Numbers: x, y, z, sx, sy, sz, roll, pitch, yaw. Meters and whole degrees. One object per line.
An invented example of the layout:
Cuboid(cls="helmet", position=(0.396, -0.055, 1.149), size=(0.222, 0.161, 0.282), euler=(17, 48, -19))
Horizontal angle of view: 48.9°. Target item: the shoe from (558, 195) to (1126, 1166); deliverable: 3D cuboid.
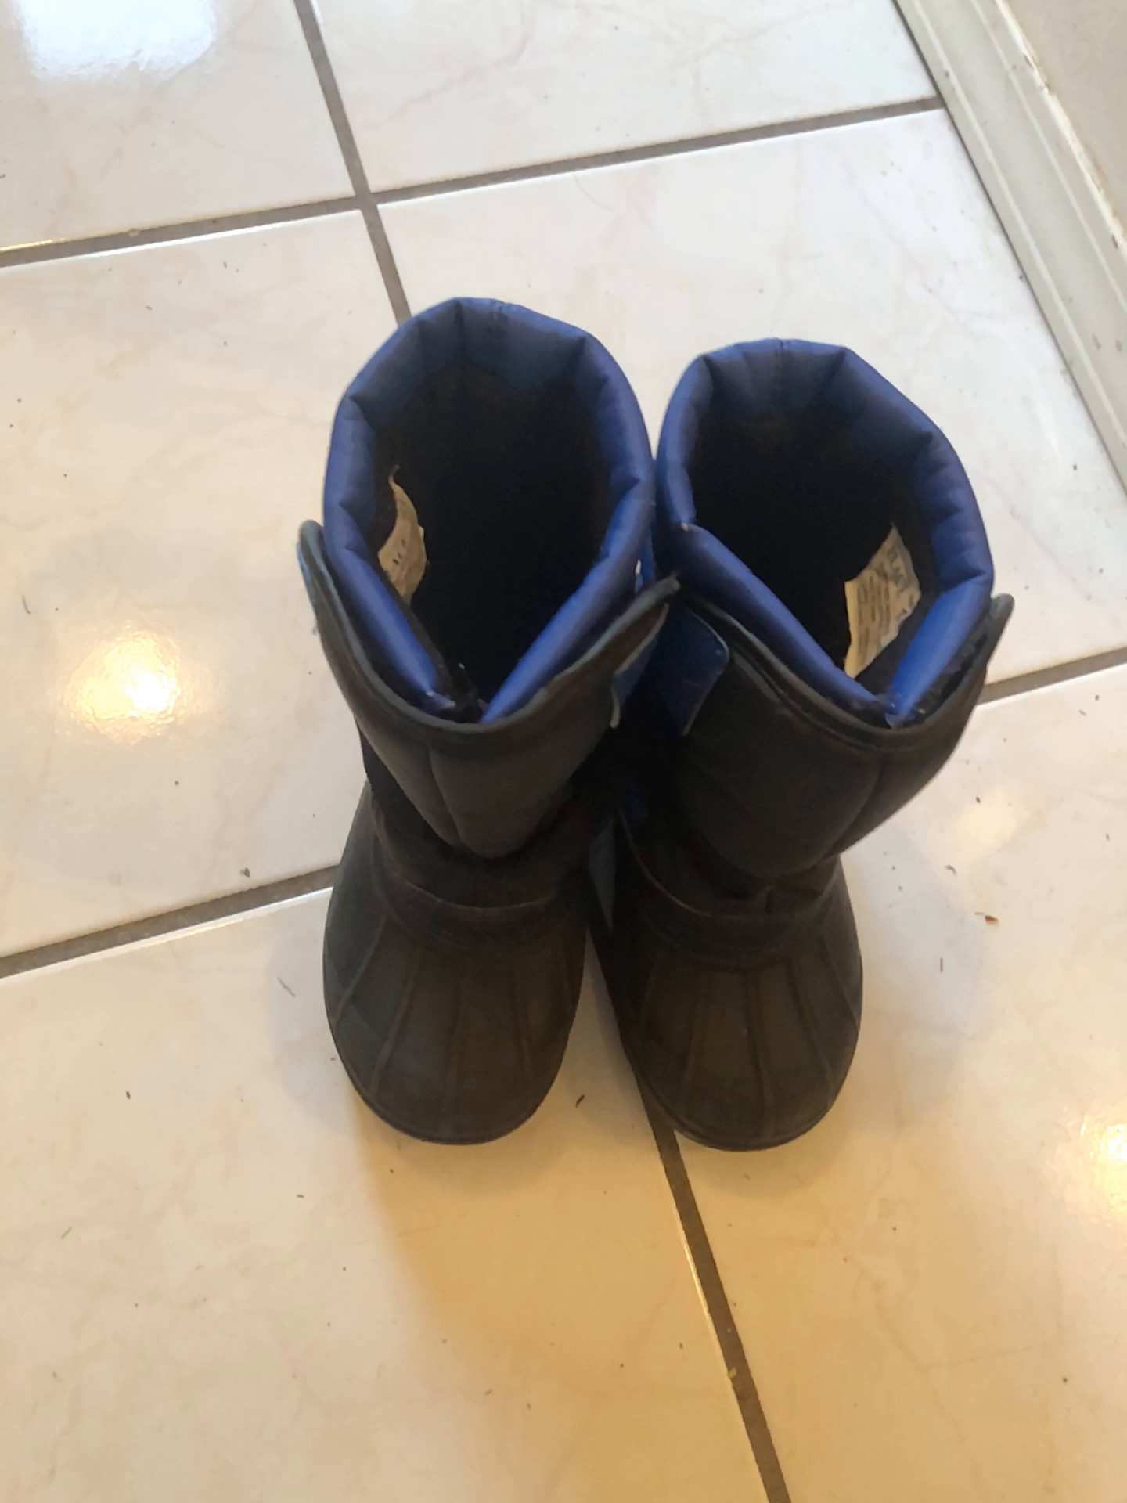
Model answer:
Cuboid(cls="shoe", position=(0.064, -0.002, 0.399), size=(0.100, 0.200, 0.250), euler=(-1, 72, -7))

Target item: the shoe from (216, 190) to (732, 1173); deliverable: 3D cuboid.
Cuboid(cls="shoe", position=(-0.029, 0.002, 0.371), size=(0.100, 0.200, 0.230), euler=(1, 72, -6))
